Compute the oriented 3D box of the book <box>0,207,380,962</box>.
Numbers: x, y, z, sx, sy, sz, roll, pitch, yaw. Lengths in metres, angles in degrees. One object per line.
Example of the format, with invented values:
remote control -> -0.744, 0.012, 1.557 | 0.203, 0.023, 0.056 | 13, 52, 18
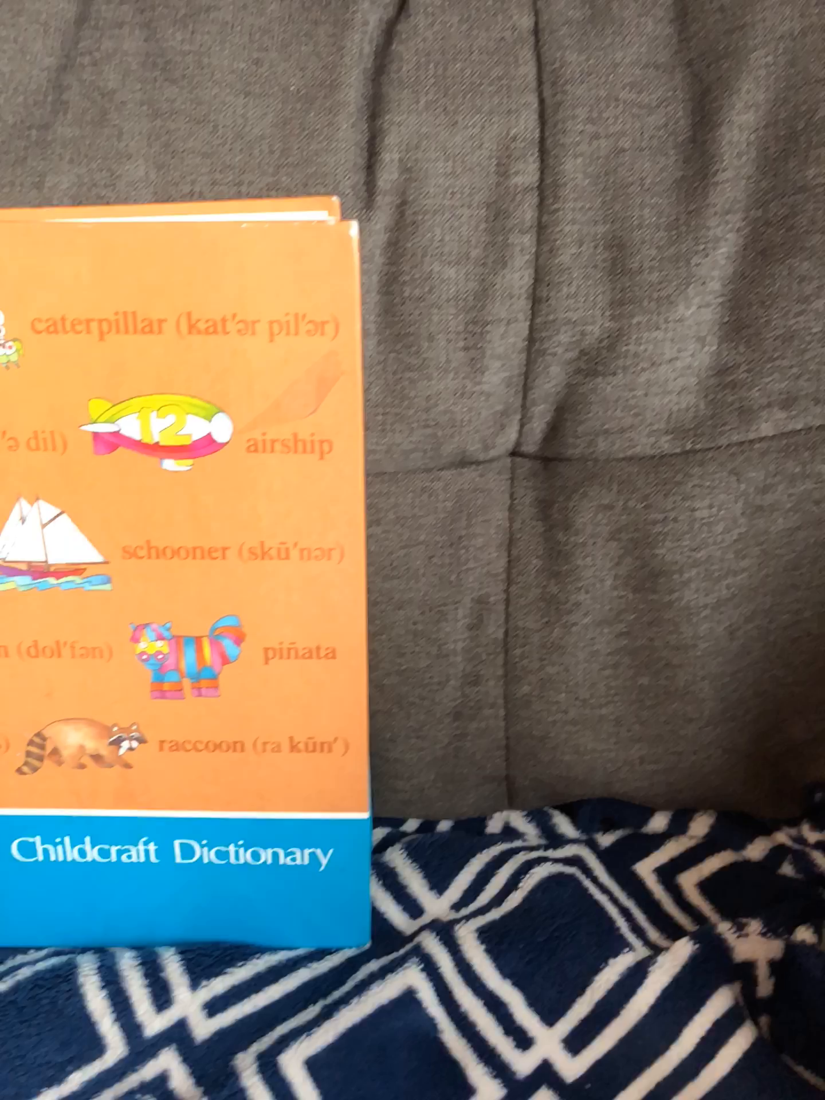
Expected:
book -> -0.119, 0.020, 0.319 | 0.210, 0.260, 0.055 | 0, 21, 1
